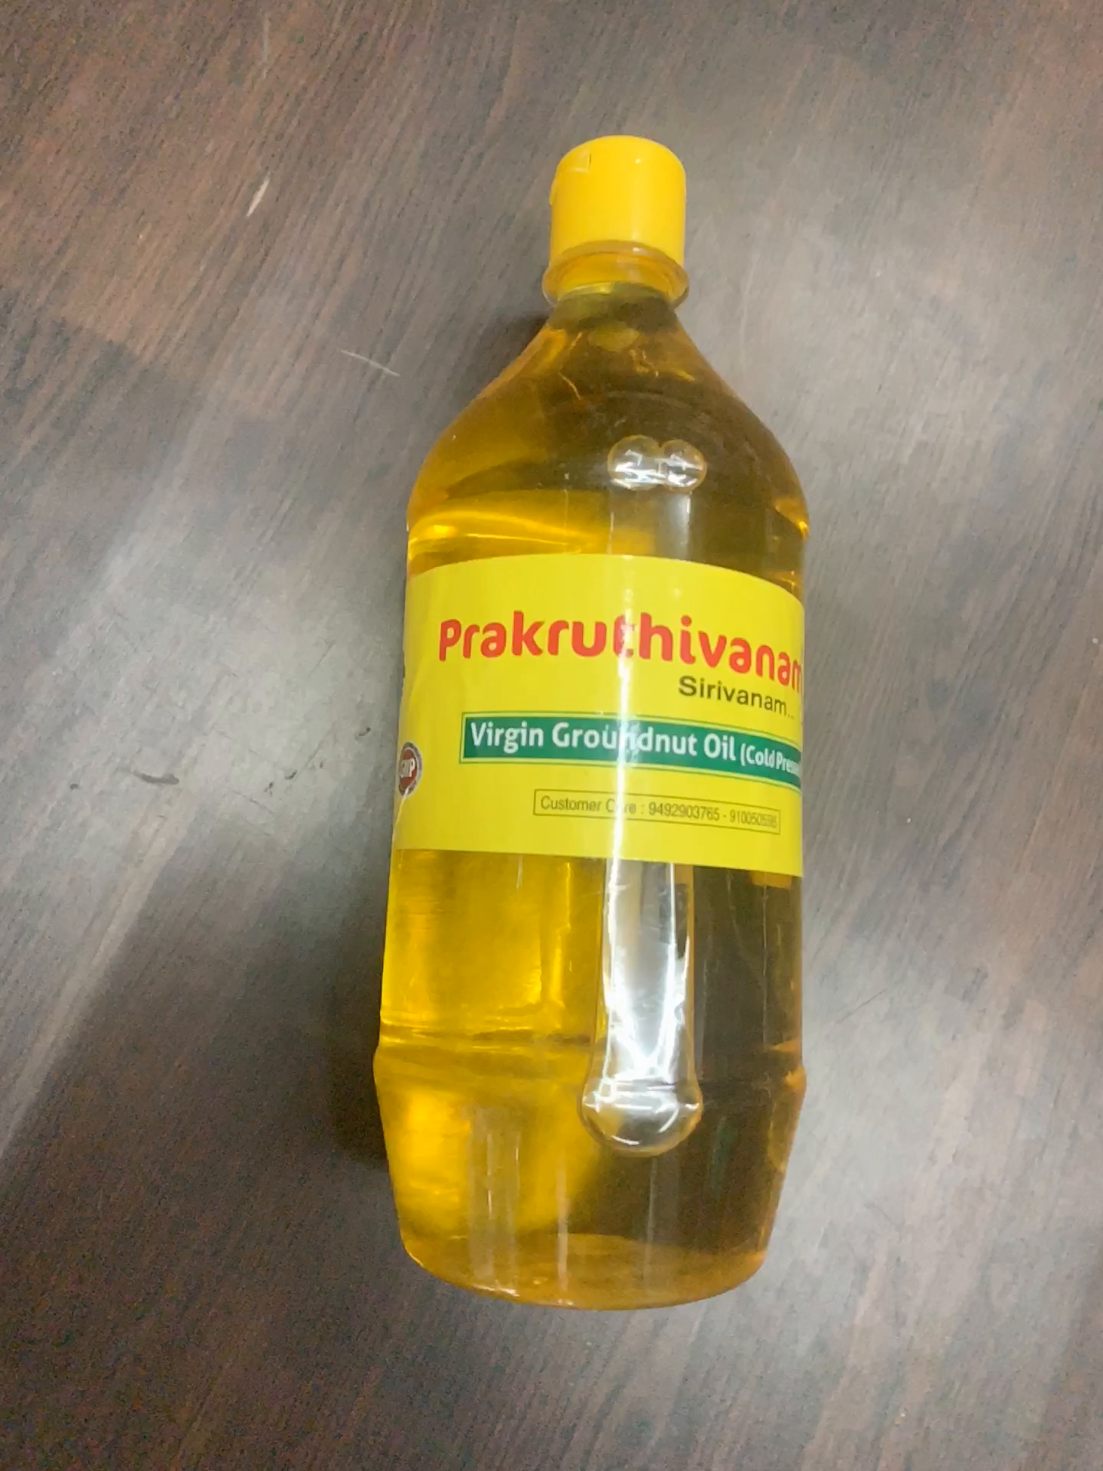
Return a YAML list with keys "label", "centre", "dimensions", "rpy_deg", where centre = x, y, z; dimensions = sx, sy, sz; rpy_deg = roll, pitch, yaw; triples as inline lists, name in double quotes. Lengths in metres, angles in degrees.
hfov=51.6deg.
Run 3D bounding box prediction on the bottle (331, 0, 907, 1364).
- label: "bottle"
  centre: [0.012, -0.027, 0.237]
  dimensions: [0.090, 0.080, 0.260]
  rpy_deg: [4, 82, -15]
